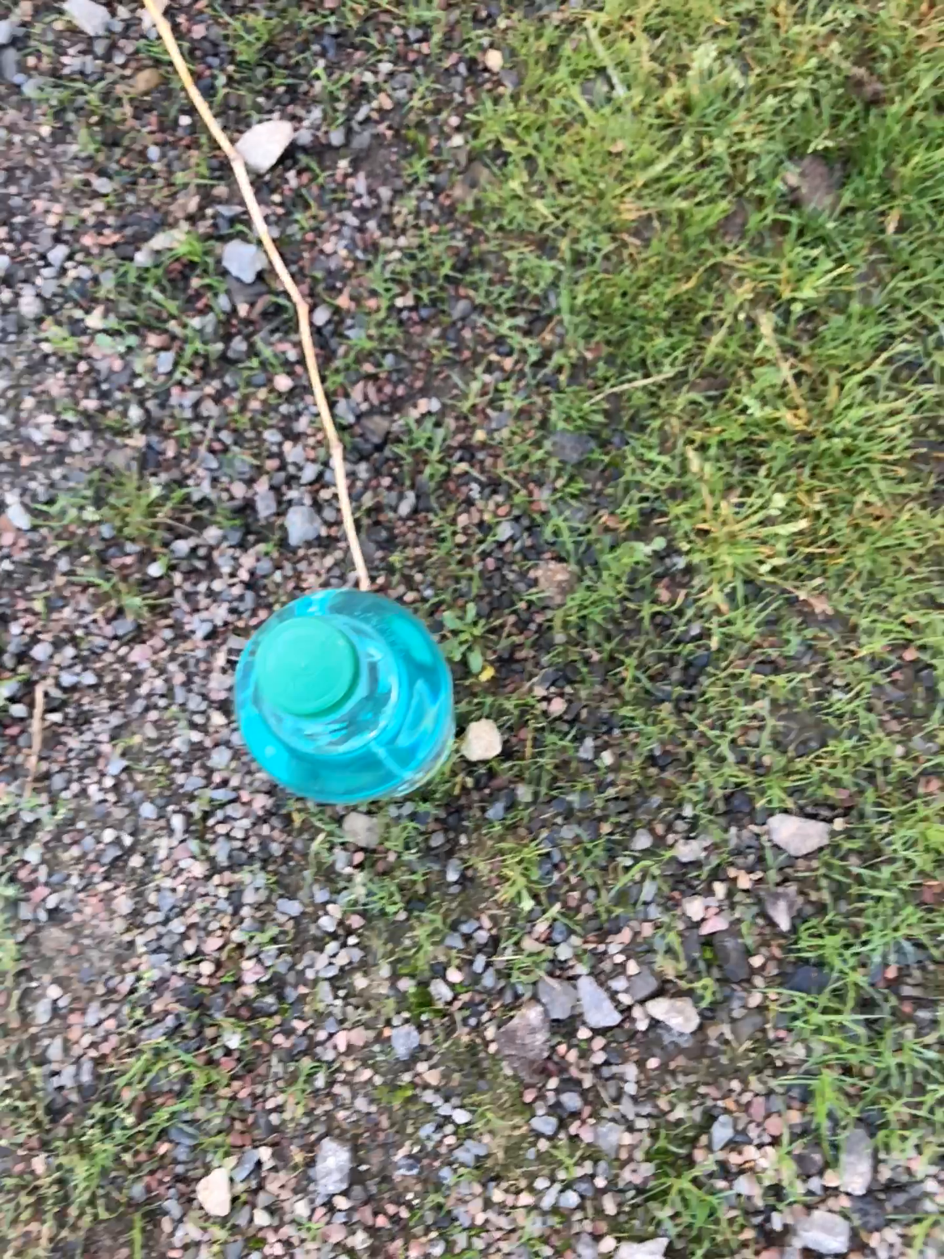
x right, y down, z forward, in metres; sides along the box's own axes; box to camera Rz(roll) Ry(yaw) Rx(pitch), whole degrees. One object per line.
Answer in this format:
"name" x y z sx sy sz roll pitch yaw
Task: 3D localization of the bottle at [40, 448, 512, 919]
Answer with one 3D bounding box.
"bottle" -0.054 0.037 0.444 0.090 0.300 0.100 42 84 6
